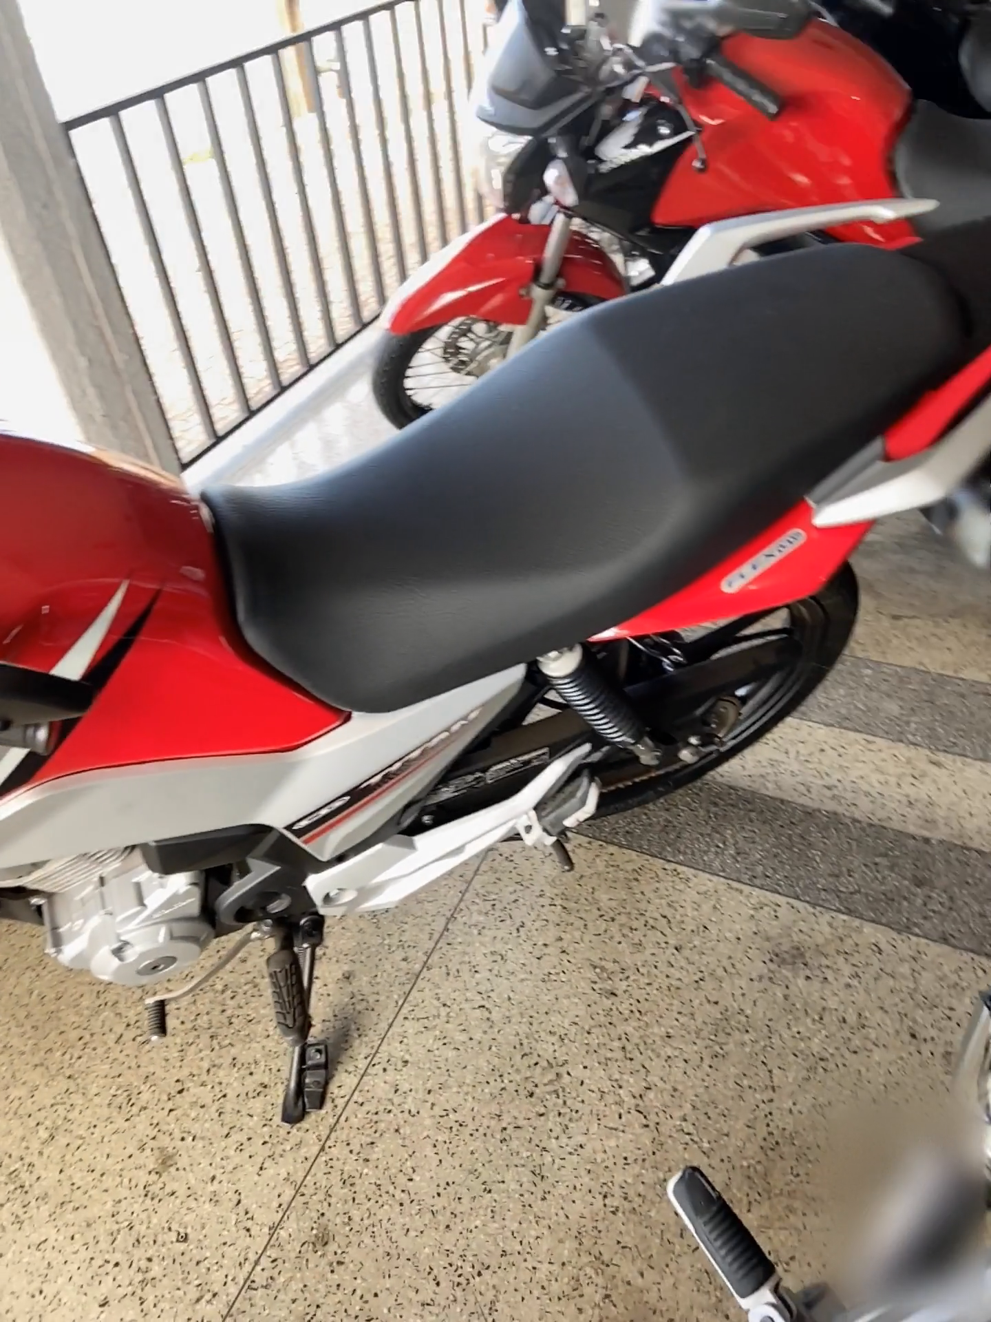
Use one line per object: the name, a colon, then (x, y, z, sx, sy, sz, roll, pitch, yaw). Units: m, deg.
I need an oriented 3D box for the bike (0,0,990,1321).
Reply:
bike: (-0.310, 0.212, 1.014, 1.993, 1.421, 0.871, -25, 42, -17)
